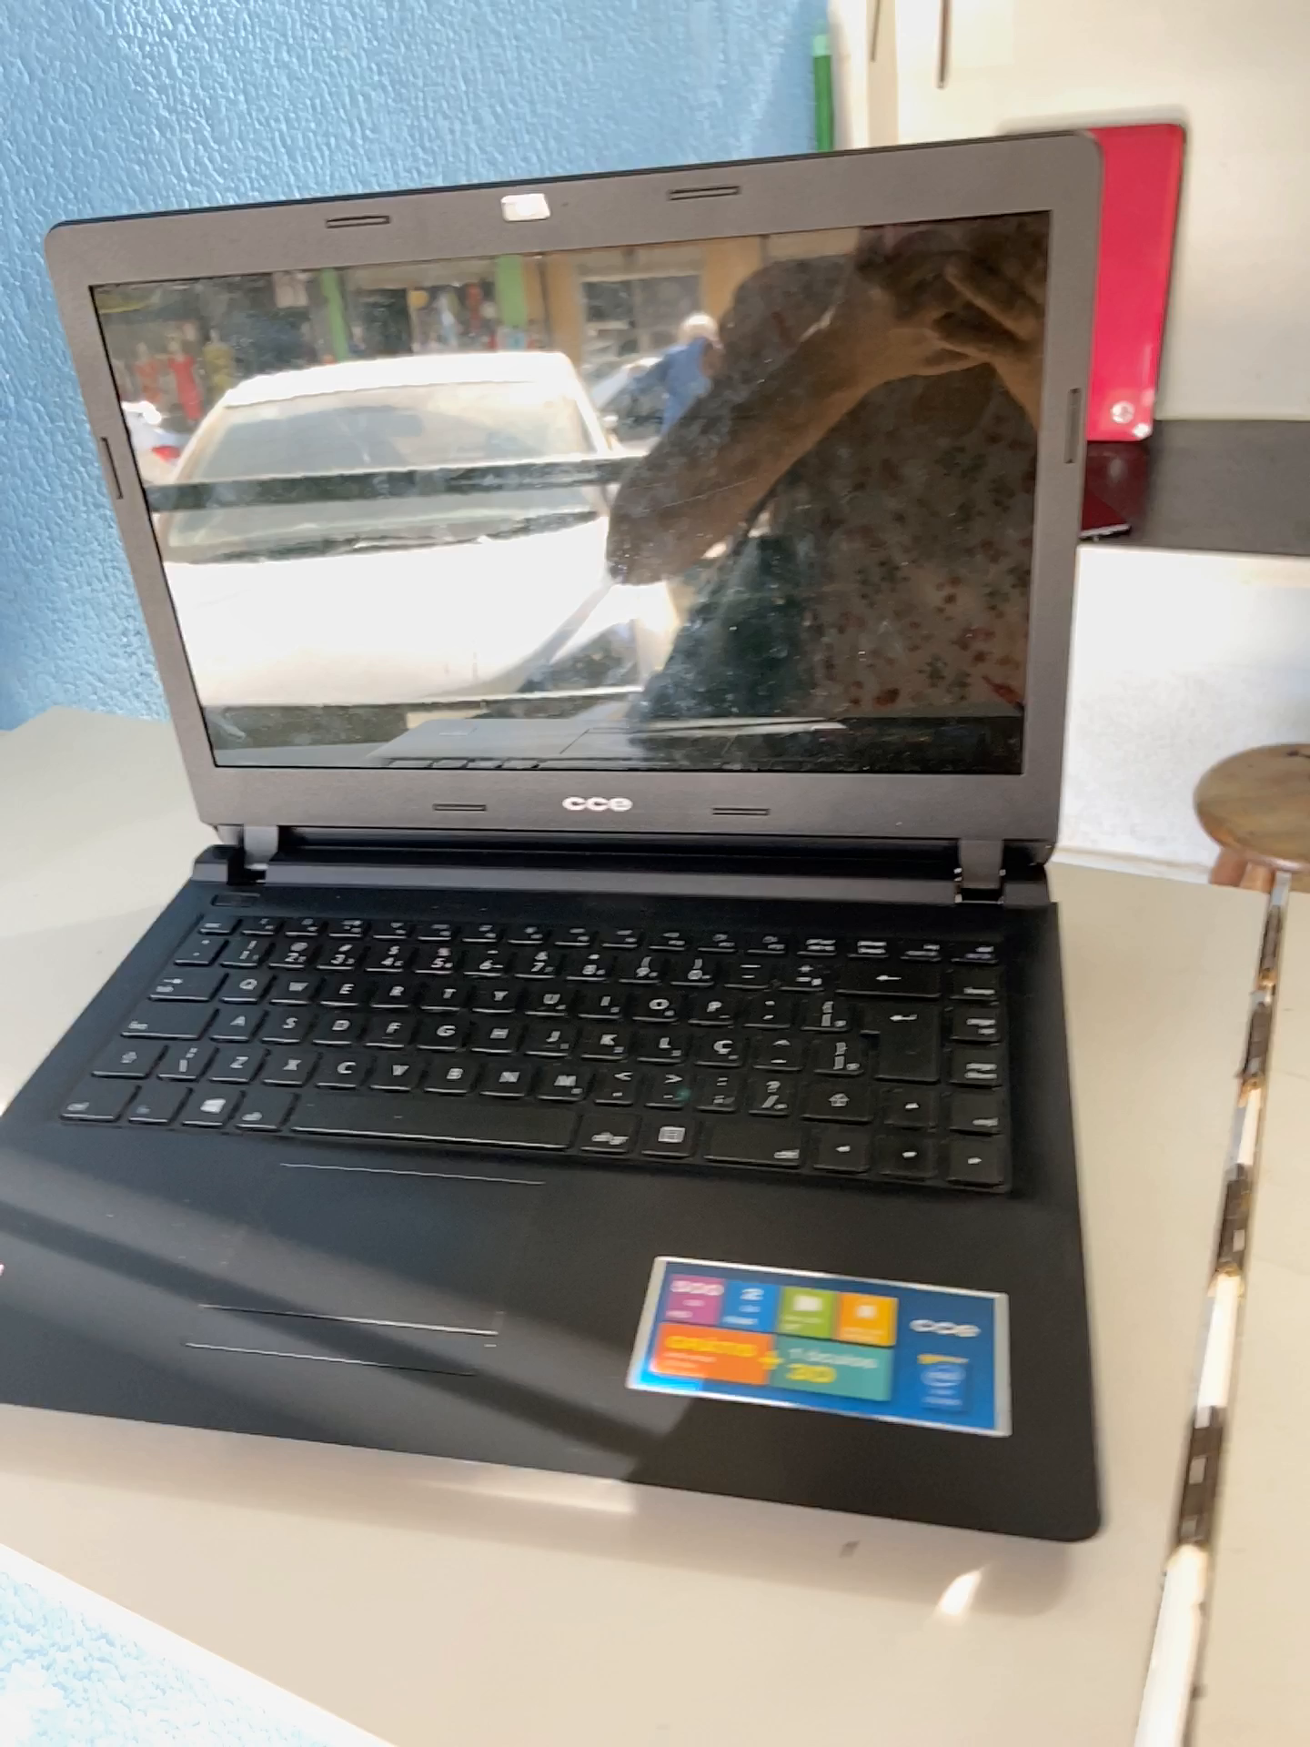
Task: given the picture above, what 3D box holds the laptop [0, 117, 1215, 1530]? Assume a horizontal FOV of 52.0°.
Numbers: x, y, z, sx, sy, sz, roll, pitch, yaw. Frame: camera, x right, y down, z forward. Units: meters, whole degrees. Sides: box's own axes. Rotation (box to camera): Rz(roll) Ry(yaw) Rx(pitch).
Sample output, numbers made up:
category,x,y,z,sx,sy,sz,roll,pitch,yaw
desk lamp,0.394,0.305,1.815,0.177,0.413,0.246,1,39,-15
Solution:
category,x,y,z,sx,sy,sz,roll,pitch,yaw
laptop,-0.047,-0.037,0.362,0.324,0.216,0.268,1,36,14
